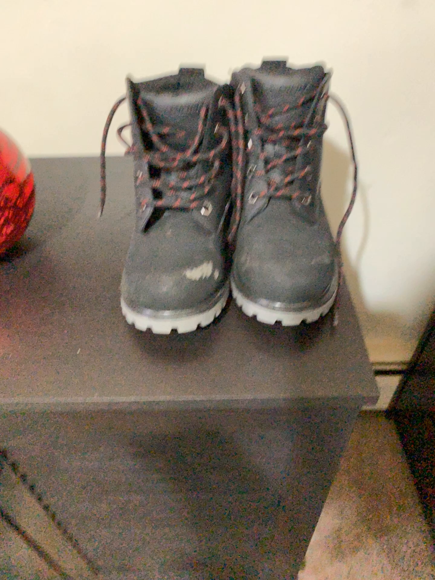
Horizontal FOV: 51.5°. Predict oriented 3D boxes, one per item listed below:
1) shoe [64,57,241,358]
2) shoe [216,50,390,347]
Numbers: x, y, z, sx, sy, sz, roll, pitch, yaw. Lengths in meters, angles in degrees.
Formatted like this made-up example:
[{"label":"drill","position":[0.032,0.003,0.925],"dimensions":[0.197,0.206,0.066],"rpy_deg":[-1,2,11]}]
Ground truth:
[{"label":"shoe","position":[-0.036,-0.080,0.389],"dimensions":[0.100,0.159,0.222],"rpy_deg":[-1,43,1]},{"label":"shoe","position":[0.051,-0.091,0.401],"dimensions":[0.100,0.159,0.232],"rpy_deg":[-1,43,1]}]
